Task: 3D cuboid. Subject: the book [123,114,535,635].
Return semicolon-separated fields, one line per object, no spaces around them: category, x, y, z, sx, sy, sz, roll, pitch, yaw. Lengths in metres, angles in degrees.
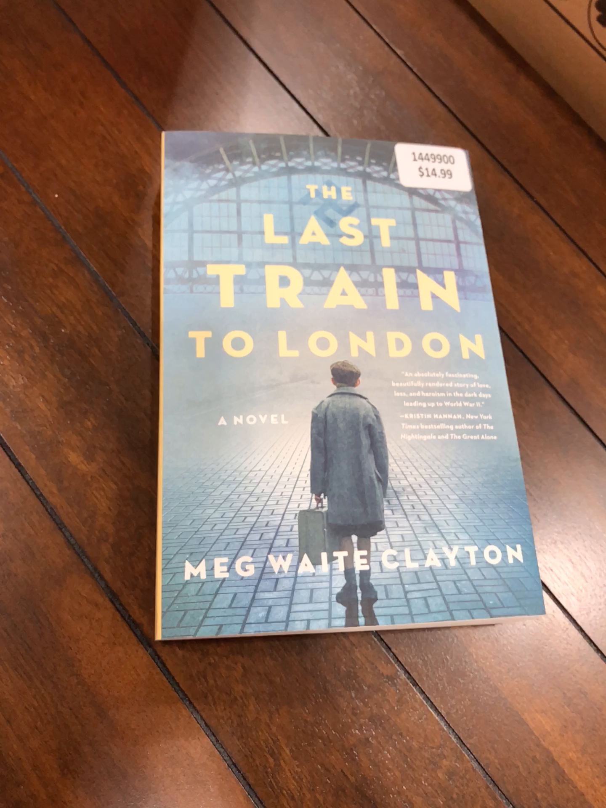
book;0.006;-0.017;0.298;0.151;0.041;0.220;1;72;-8
